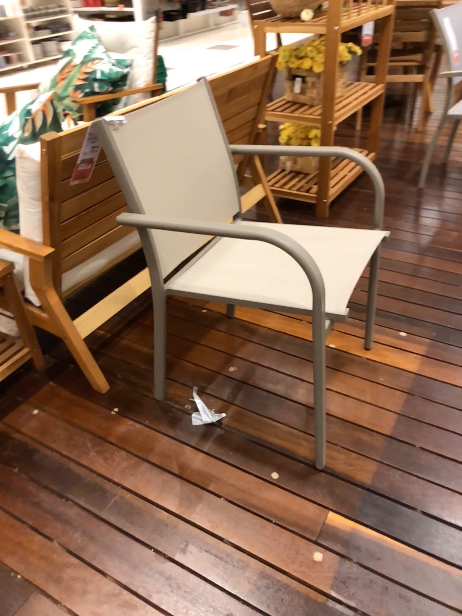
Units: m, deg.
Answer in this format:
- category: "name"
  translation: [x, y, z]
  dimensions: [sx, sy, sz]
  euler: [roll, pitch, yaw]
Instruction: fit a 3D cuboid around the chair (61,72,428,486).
- category: "chair"
  translation: [0.084, -0.128, 1.360]
  dimensions: [0.611, 0.794, 0.624]
  euler: [15, 38, 24]
